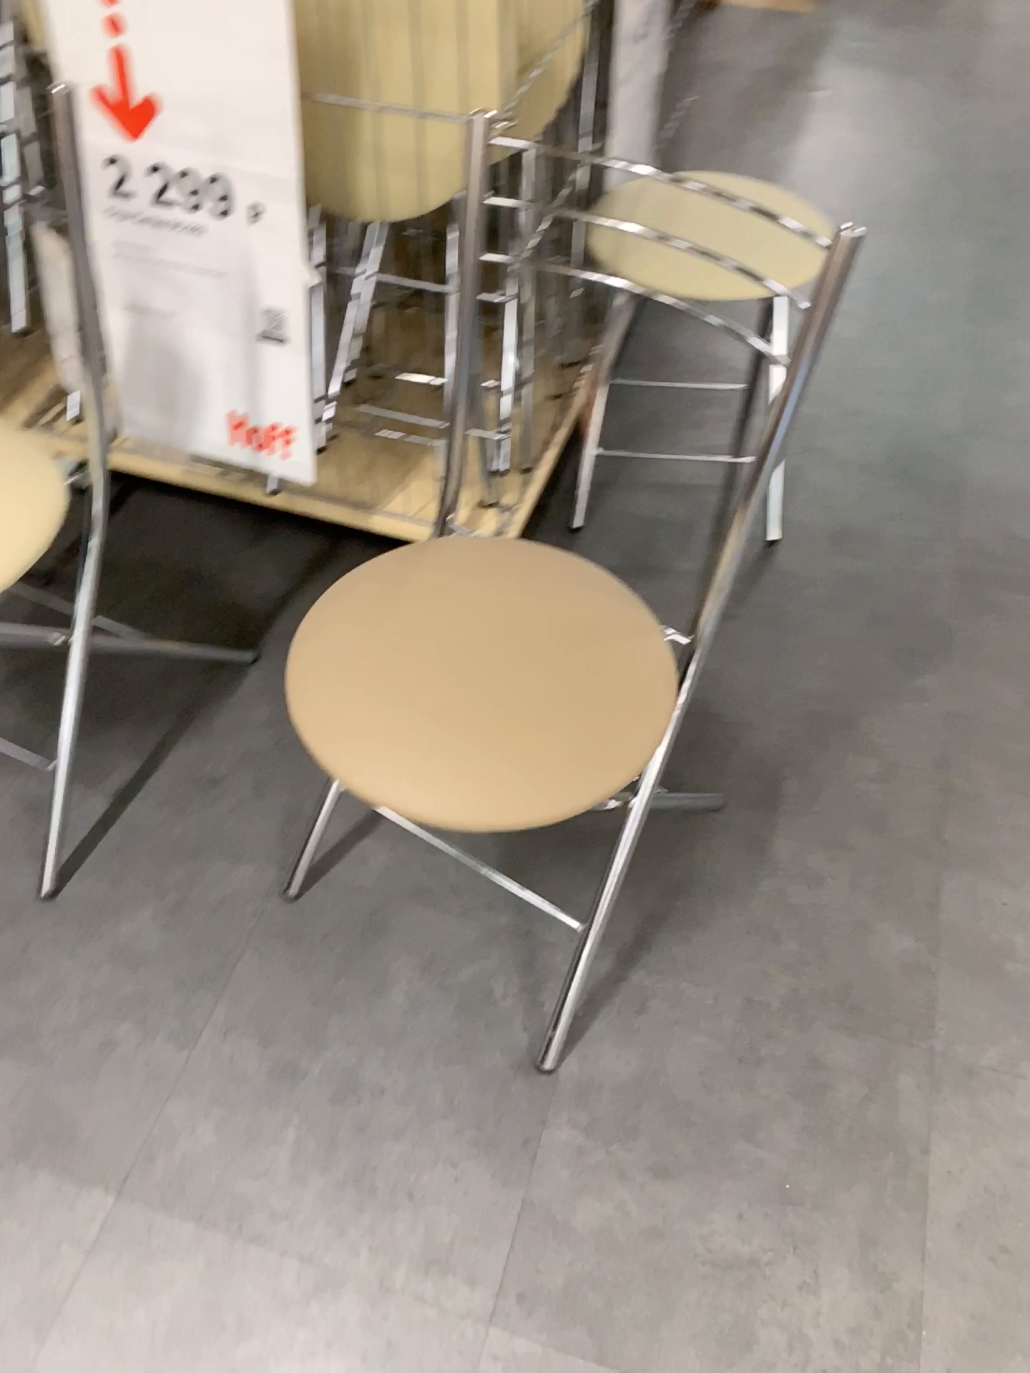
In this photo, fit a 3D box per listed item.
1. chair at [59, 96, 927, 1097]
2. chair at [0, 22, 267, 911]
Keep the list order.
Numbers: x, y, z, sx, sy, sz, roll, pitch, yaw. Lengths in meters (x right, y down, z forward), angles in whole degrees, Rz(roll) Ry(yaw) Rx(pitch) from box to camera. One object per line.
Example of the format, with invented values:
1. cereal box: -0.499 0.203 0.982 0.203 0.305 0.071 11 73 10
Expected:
1. chair: 0.002 -0.046 1.081 0.440 0.796 0.492 27 55 20
2. chair: -0.708 -0.217 1.226 0.520 0.776 0.492 17 52 13
